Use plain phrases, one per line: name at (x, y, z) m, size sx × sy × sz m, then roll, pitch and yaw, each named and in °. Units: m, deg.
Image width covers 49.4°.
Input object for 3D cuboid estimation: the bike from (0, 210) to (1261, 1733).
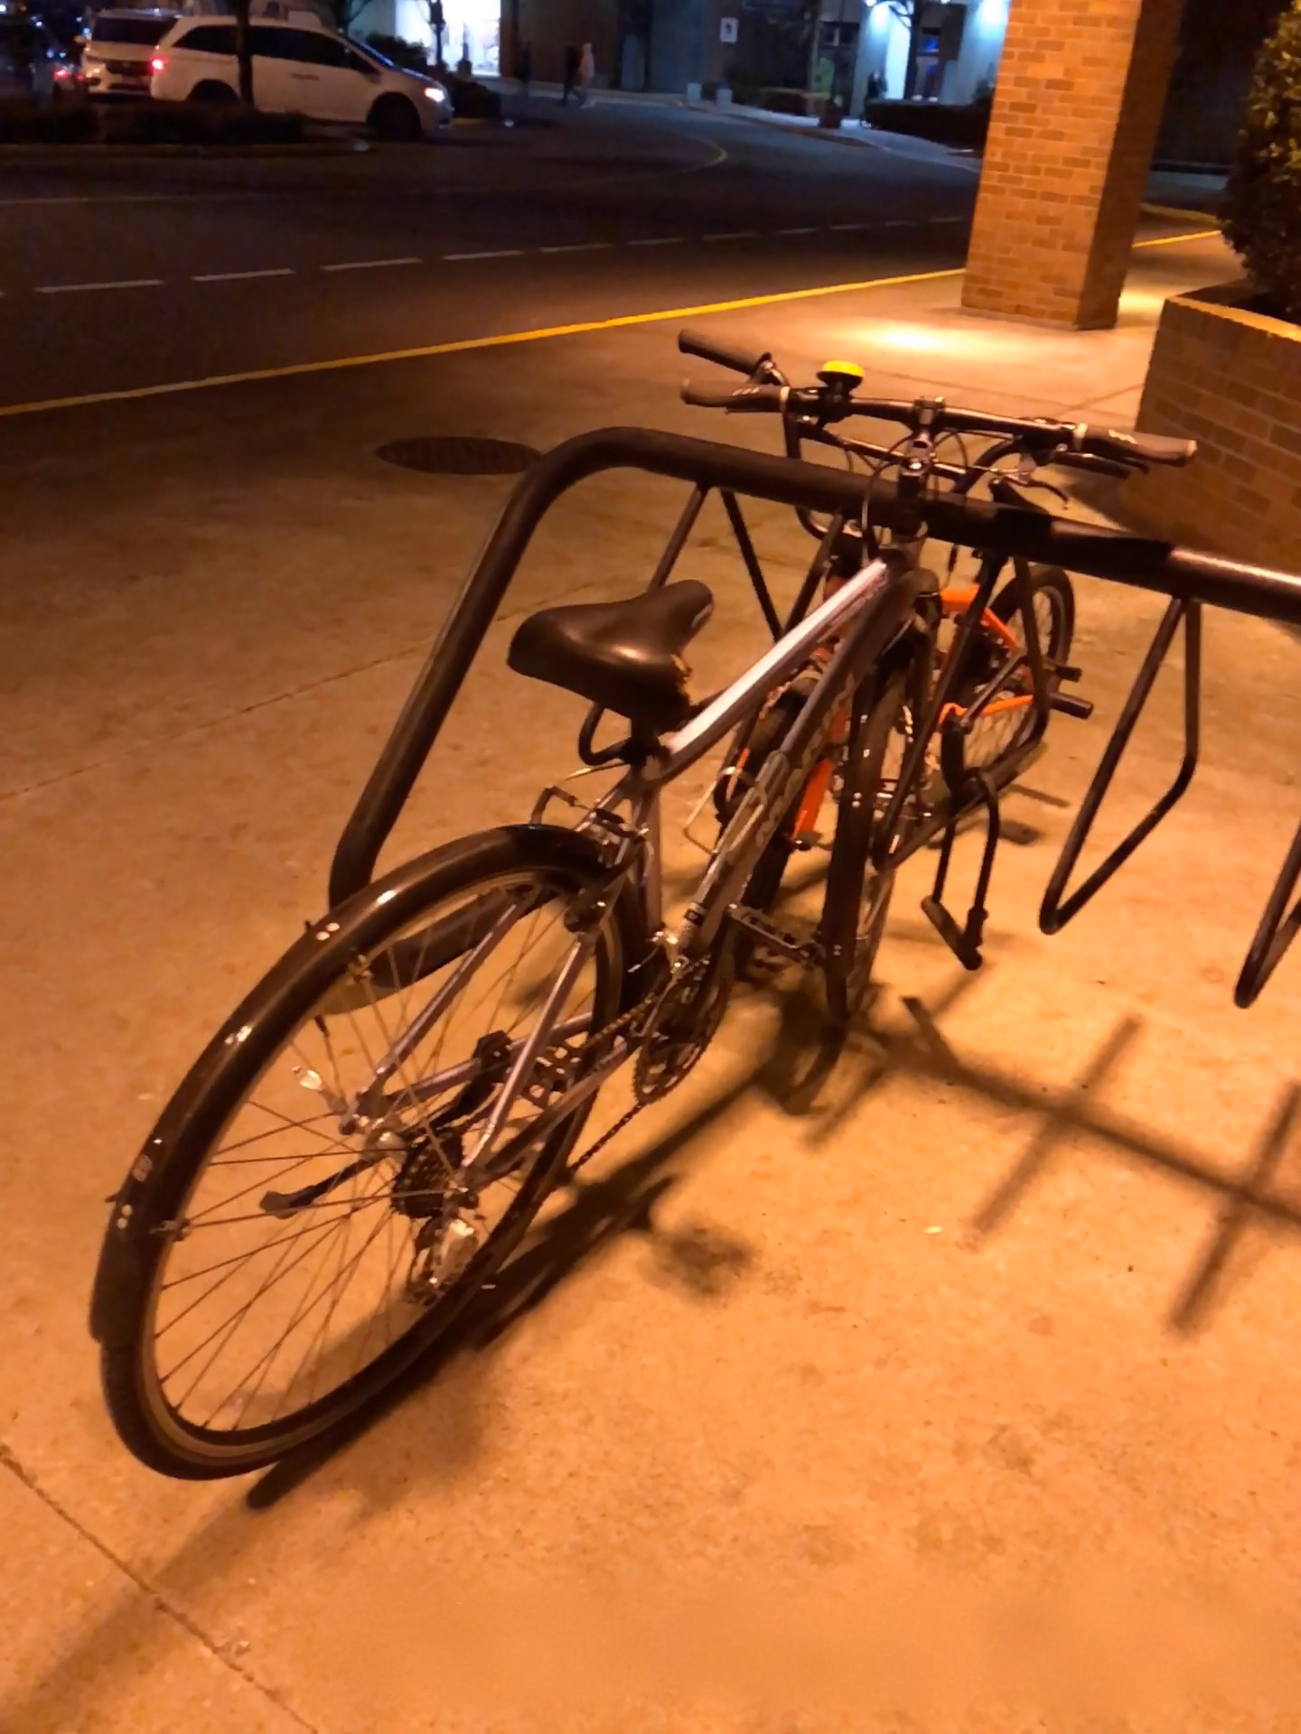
bike at (0.051, -0.126, 1.610) m, size 0.639 × 0.864 × 1.648 m, roll 21°, pitch 37°, yaw 26°
